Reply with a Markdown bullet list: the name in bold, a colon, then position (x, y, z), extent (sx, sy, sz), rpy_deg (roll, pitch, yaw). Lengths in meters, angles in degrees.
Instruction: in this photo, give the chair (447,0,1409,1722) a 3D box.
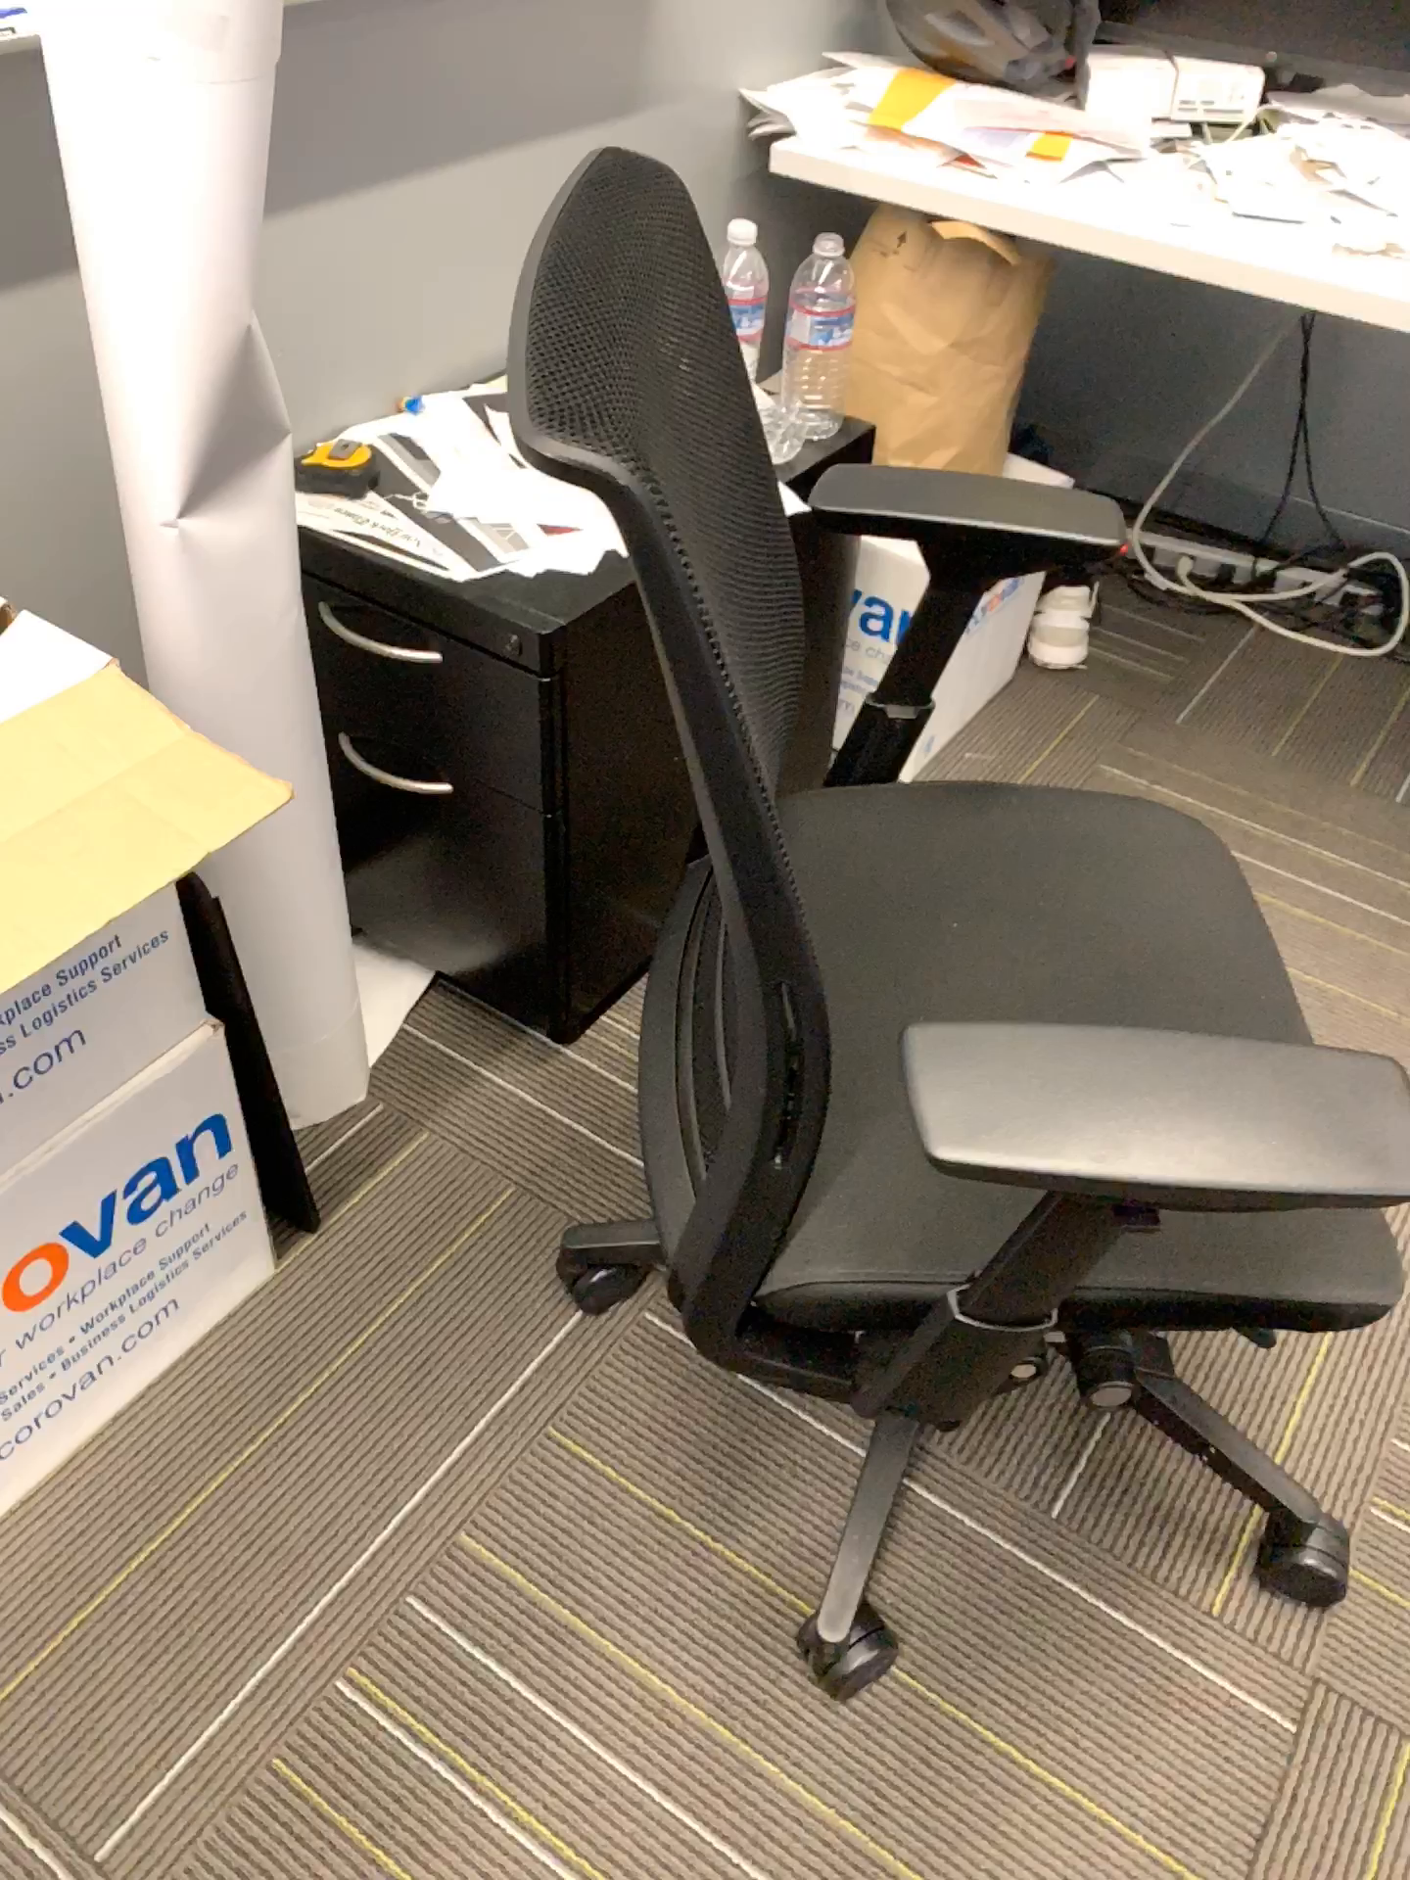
- **chair**: position (0.225, -0.018, 0.973), extent (0.680, 0.915, 0.664), rpy_deg (0, 42, -5)
